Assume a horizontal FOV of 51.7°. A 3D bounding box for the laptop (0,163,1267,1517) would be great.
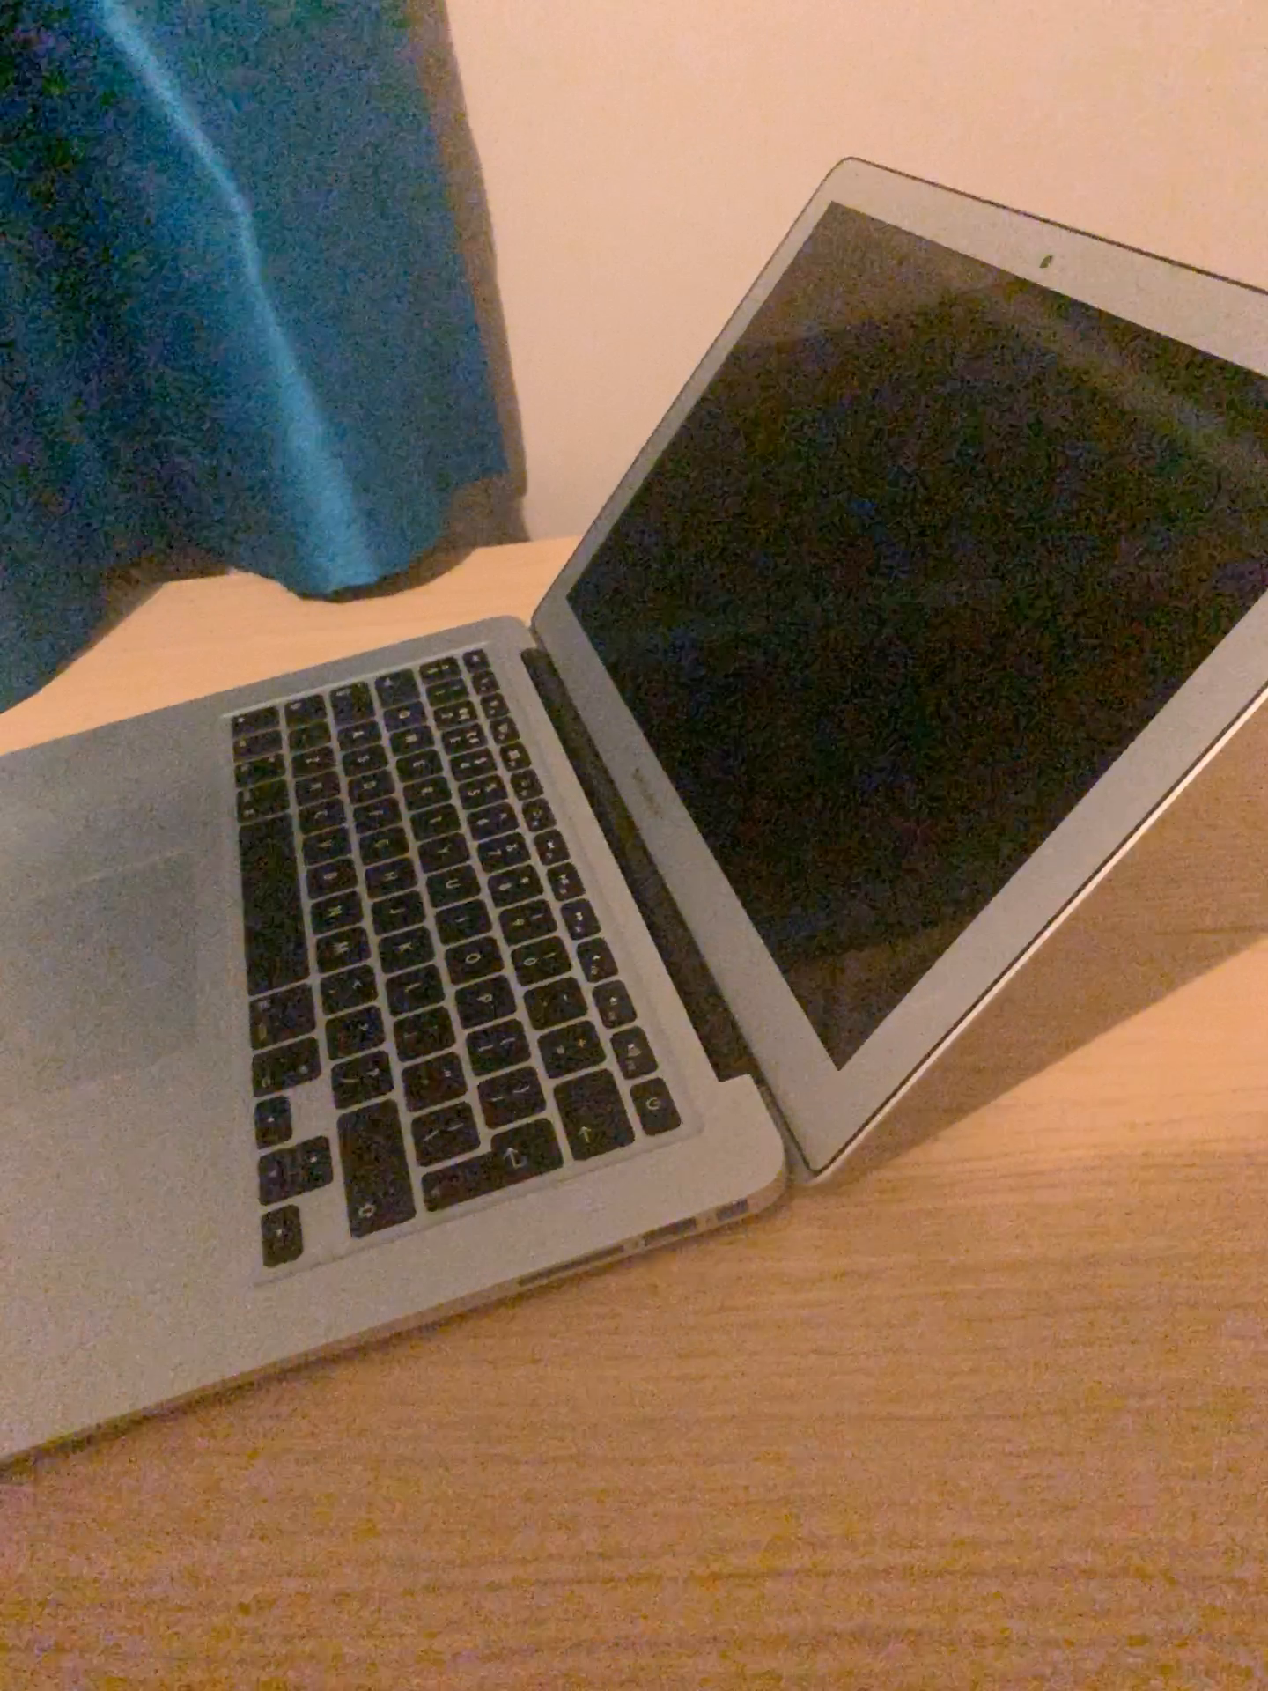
[{"bbox_3d":[-0.046,-0.057,0.373,0.368,0.144,0.304,-16,37,-9],"label":"laptop"}]
